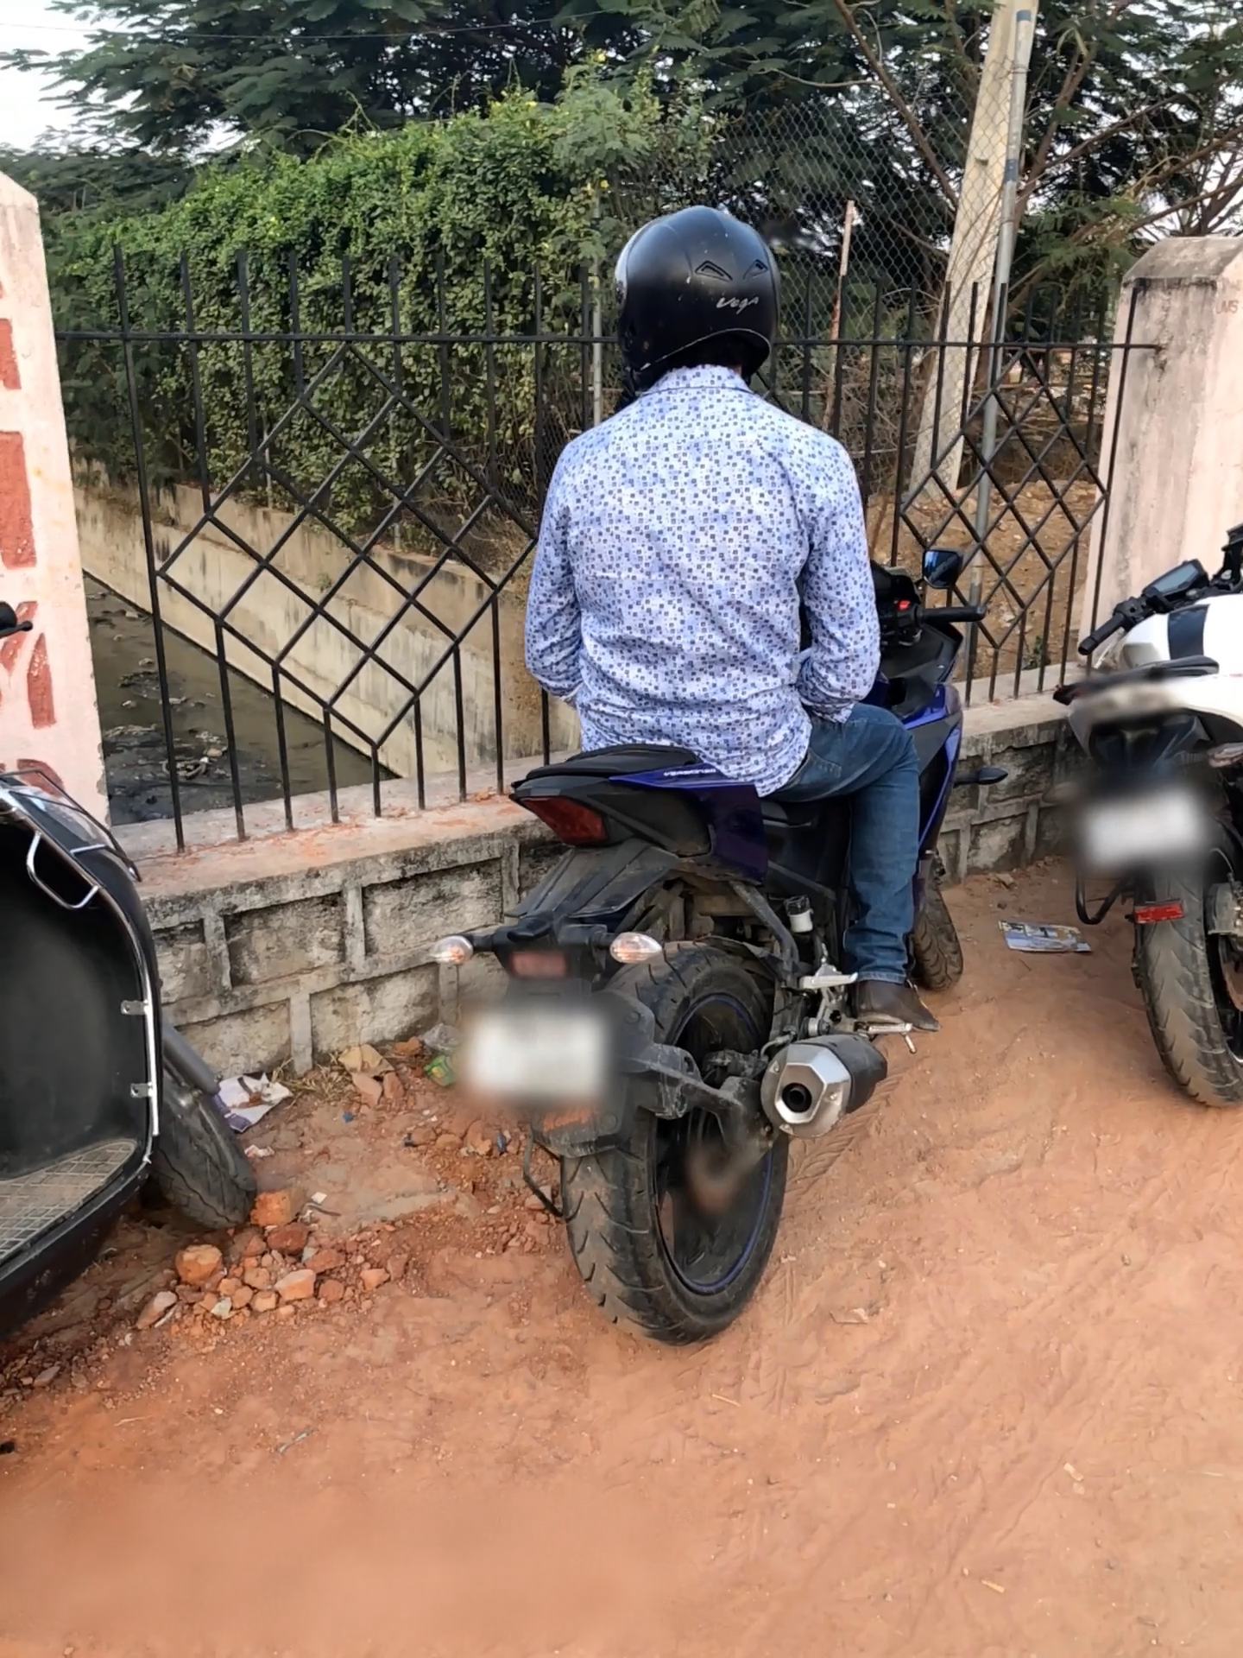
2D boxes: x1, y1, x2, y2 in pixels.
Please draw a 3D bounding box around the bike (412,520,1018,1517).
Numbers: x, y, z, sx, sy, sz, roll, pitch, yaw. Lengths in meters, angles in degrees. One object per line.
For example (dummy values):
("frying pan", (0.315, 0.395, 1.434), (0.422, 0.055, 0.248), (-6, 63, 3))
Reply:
("bike", (0.337, 0.075, 2.684), (0.730, 0.995, 1.955), (6, 22, 15))
